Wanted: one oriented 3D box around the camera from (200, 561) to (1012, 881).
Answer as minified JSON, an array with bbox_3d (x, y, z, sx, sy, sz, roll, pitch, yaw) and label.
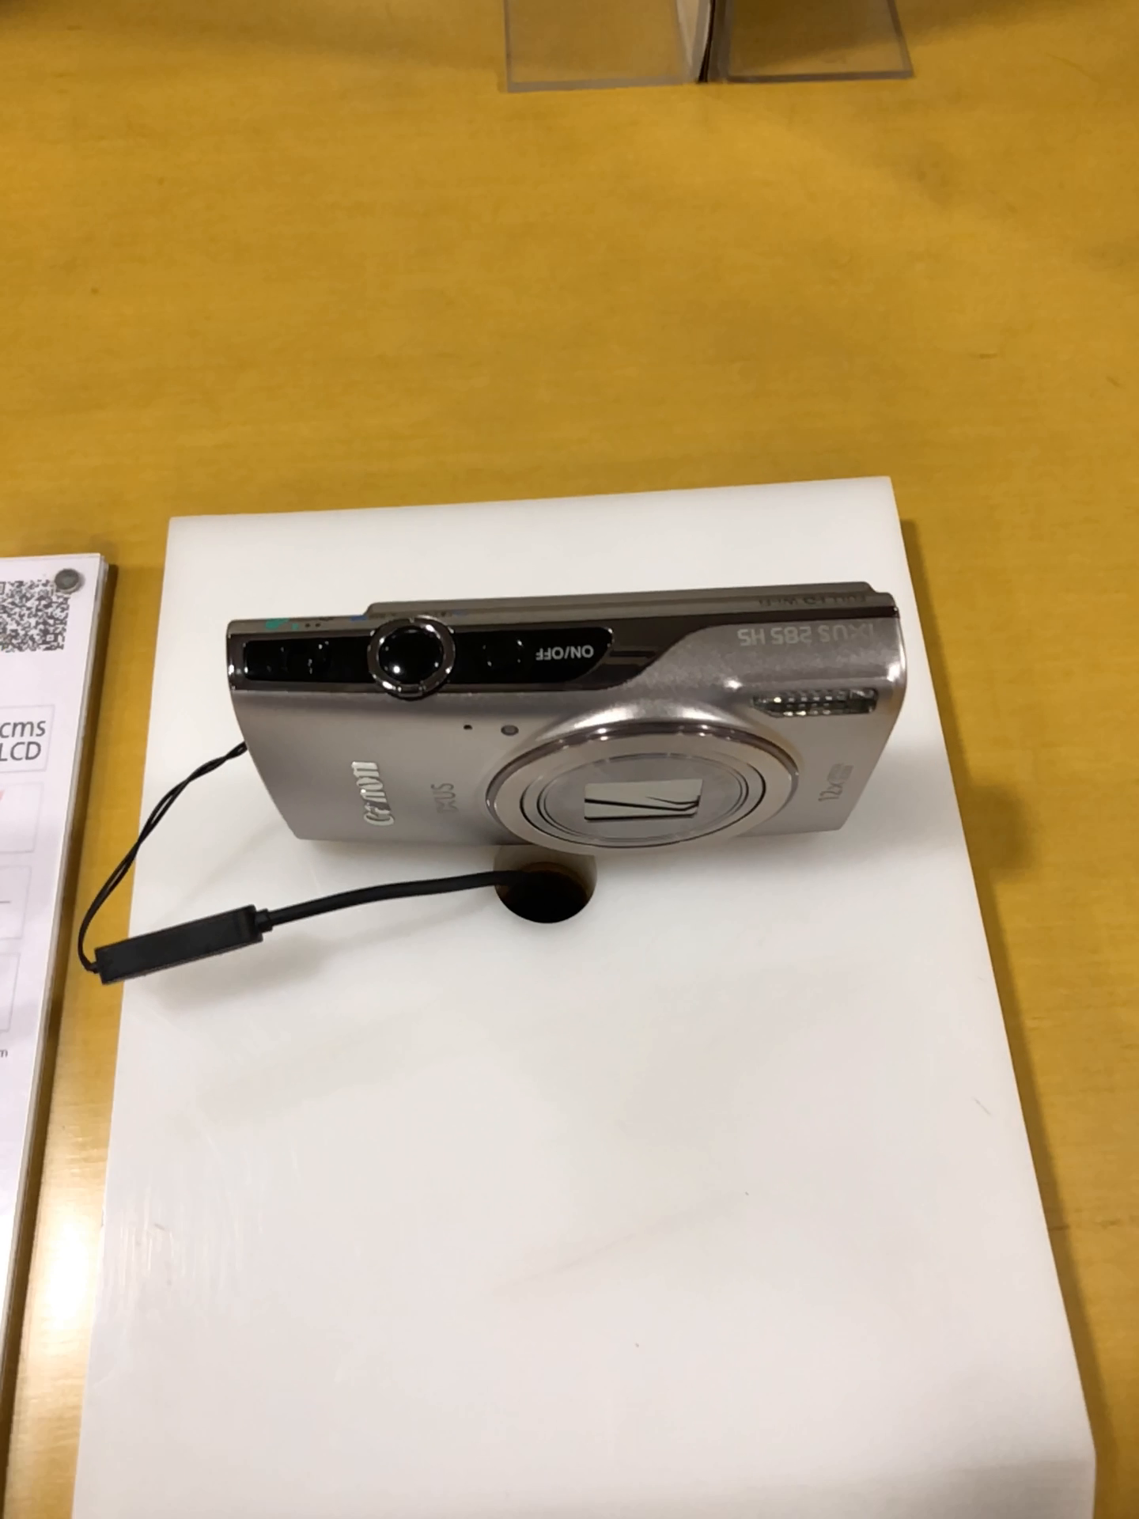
[{"bbox_3d":[0.005,-0.003,0.203,0.110,0.060,0.020,-3,64,-1],"label":"camera"}]
